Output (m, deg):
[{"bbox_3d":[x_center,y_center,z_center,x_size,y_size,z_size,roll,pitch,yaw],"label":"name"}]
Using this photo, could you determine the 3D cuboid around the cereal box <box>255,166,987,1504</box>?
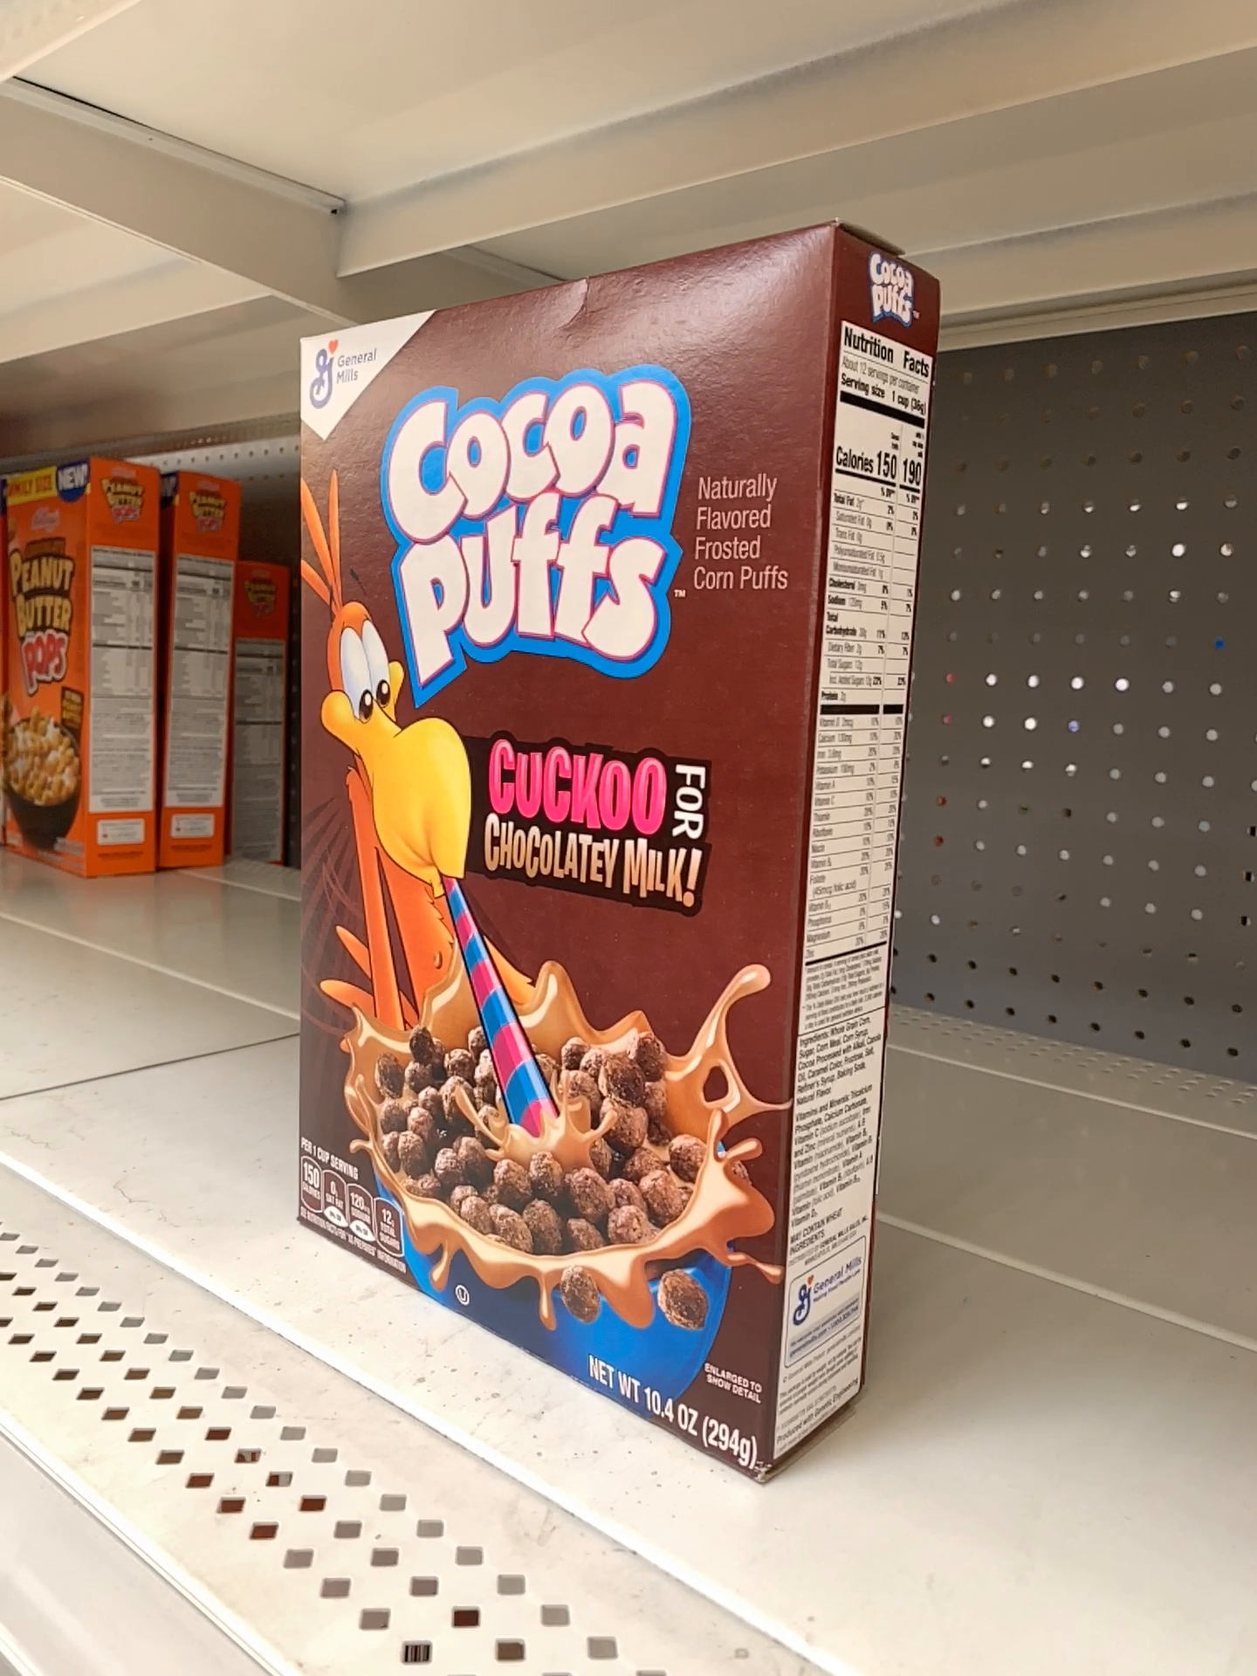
[{"bbox_3d":[-0.020,-0.006,0.335,0.200,0.259,0.050,9,10,42],"label":"cereal box"}]
